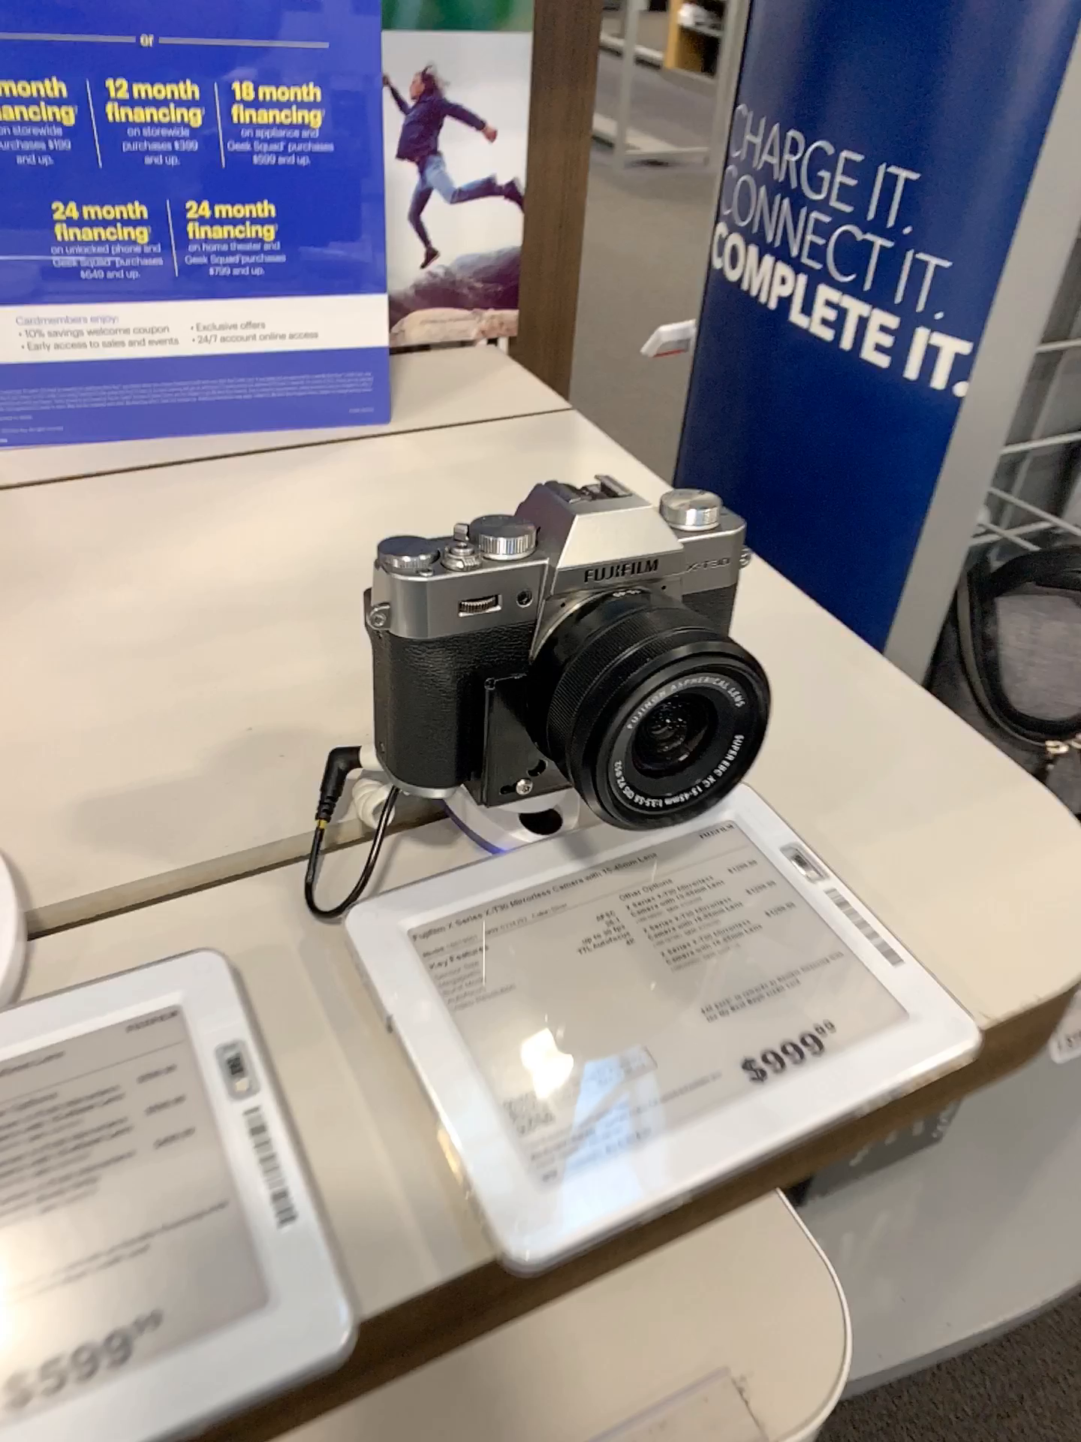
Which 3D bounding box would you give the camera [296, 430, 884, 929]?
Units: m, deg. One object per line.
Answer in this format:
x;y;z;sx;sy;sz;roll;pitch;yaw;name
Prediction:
0.008;-0.020;0.329;0.130;0.080;0.101;-14;42;-22;camera
